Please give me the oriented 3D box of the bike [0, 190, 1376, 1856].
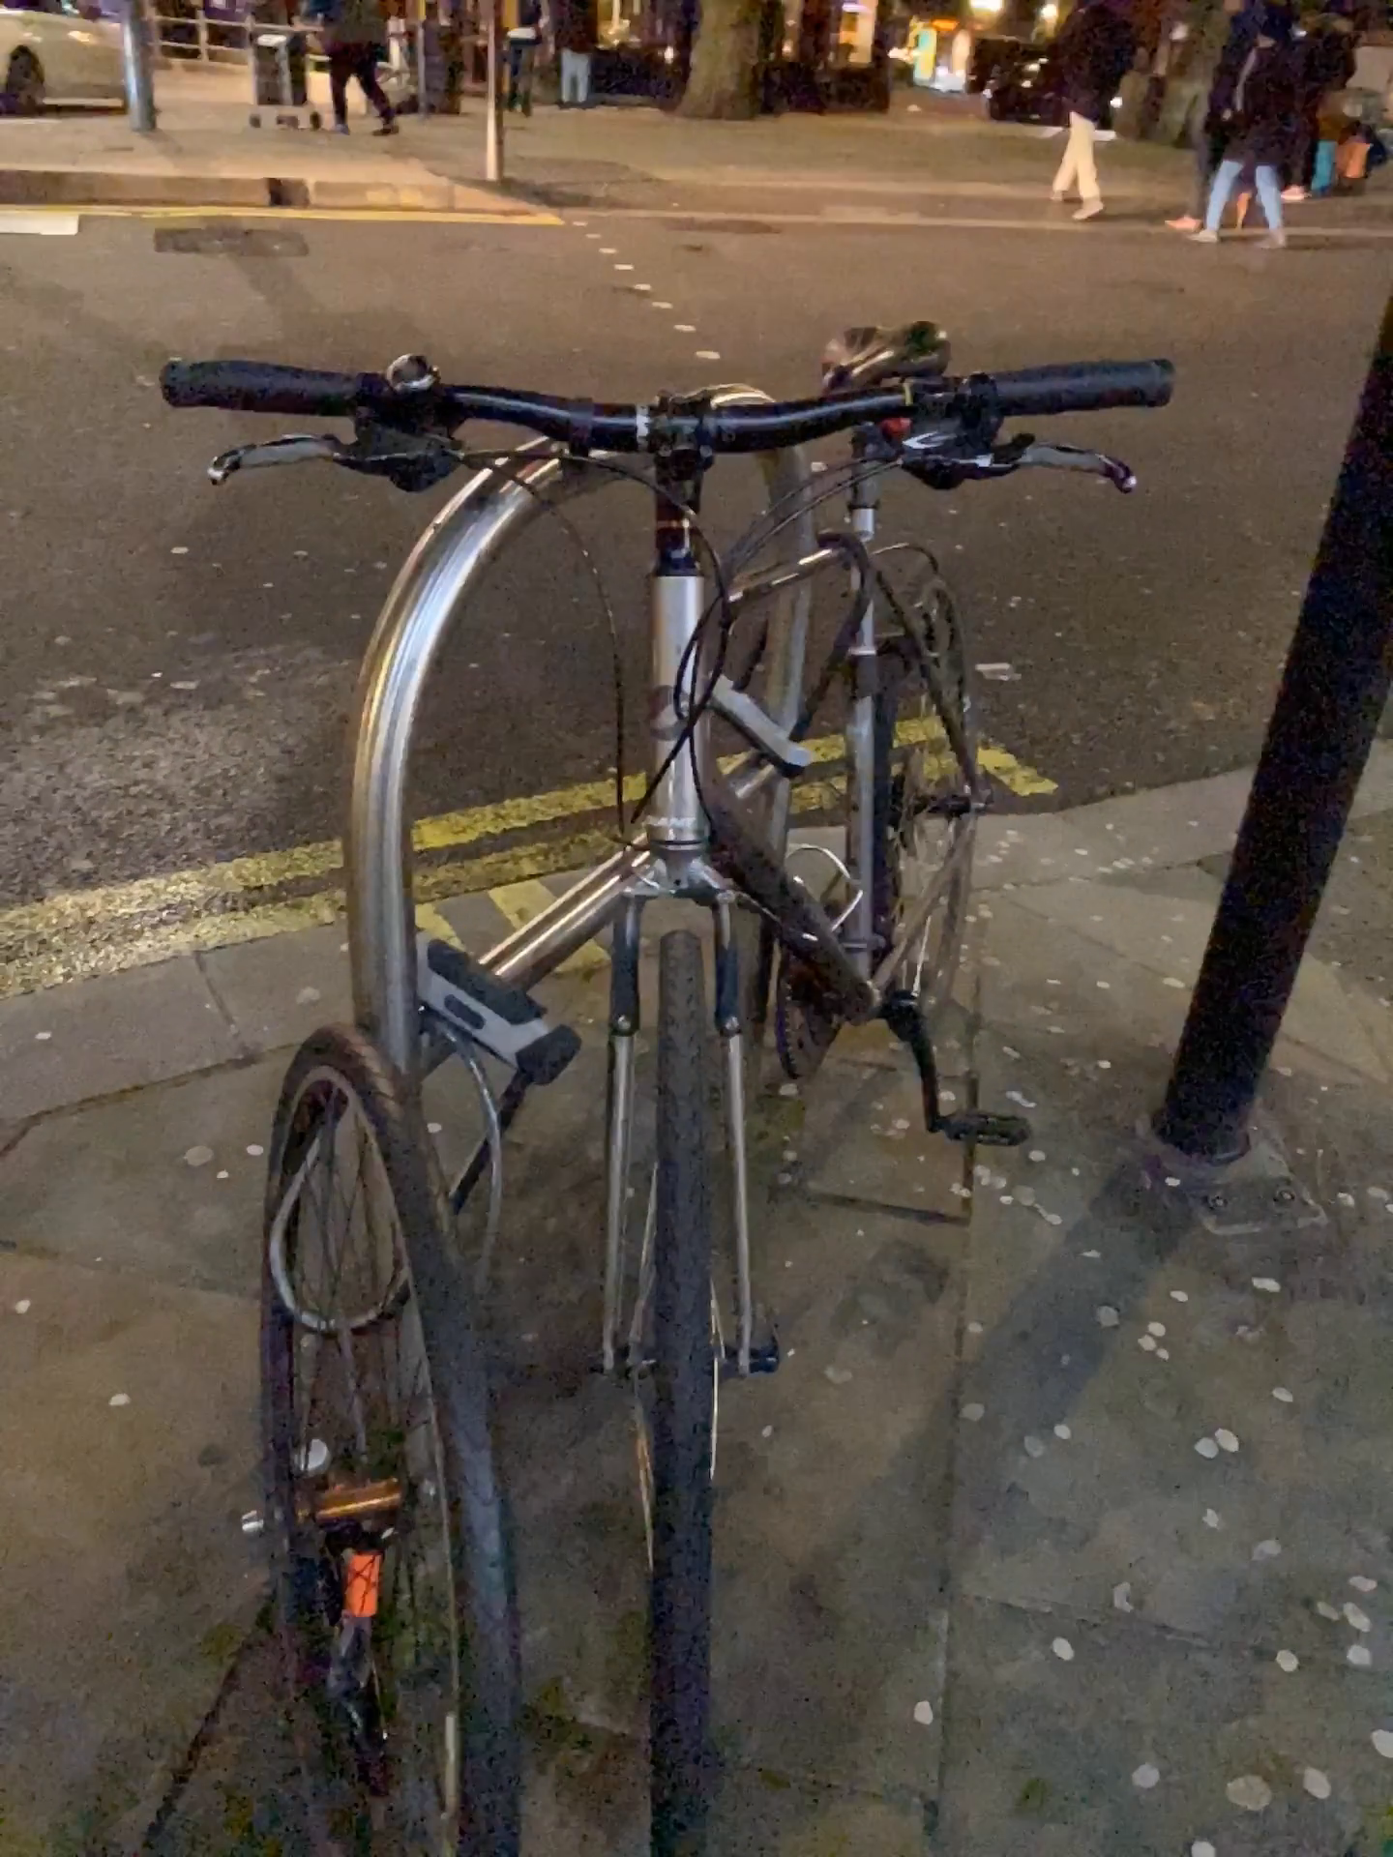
[{"bbox_3d":[0.065,-0.113,1.549,0.708,1.124,1.830,11,31,11],"label":"bike"}]
